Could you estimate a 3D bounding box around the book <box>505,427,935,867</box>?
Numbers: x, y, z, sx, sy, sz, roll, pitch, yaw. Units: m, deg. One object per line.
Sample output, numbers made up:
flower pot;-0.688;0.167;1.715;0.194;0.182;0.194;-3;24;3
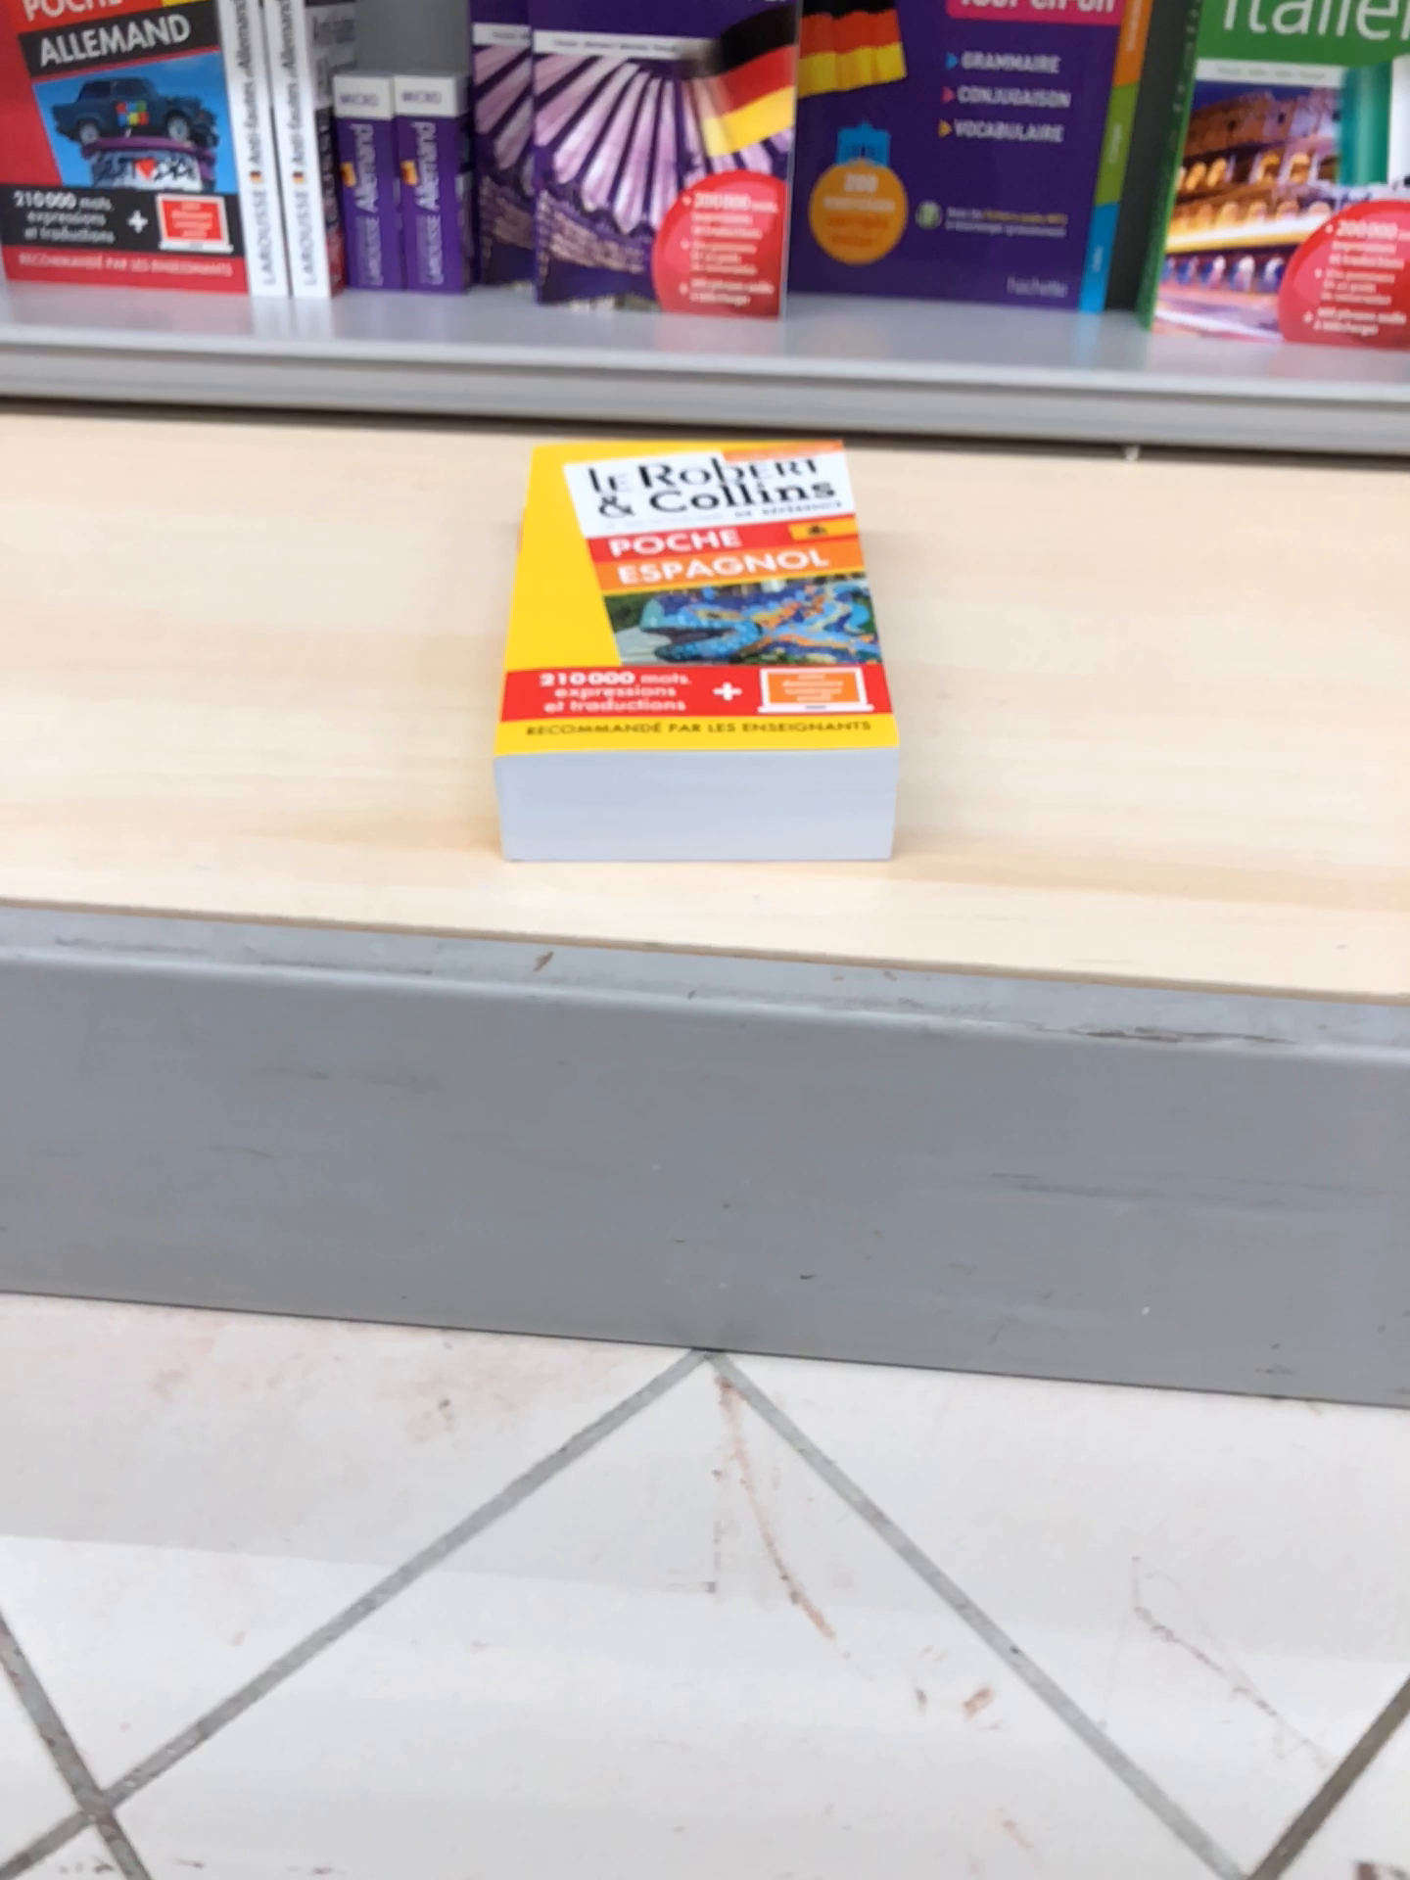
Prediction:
book;0.002;-0.097;0.479;0.110;0.040;0.181;0;43;-2
